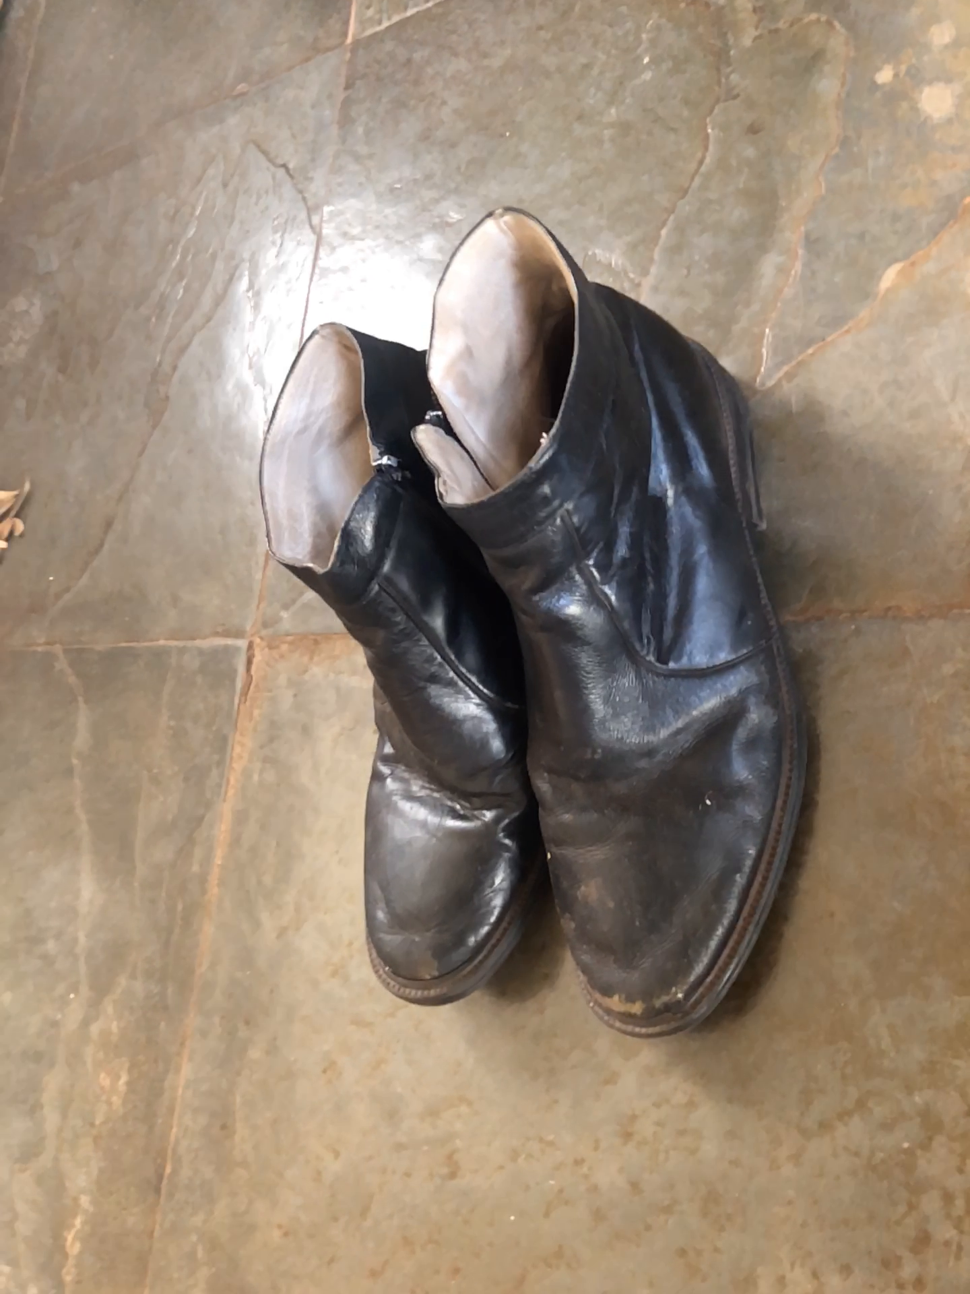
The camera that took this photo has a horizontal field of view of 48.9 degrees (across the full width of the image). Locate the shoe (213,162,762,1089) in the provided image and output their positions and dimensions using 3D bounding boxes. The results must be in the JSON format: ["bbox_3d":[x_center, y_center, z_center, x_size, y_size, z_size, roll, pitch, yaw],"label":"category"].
[{"bbox_3d":[0.016,0.004,0.368,0.100,0.160,0.250,-7,72,34],"label":"shoe"}]

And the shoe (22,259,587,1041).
[{"bbox_3d":[-0.057,0.010,0.425,0.100,0.160,0.250,-1,76,36],"label":"shoe"}]
